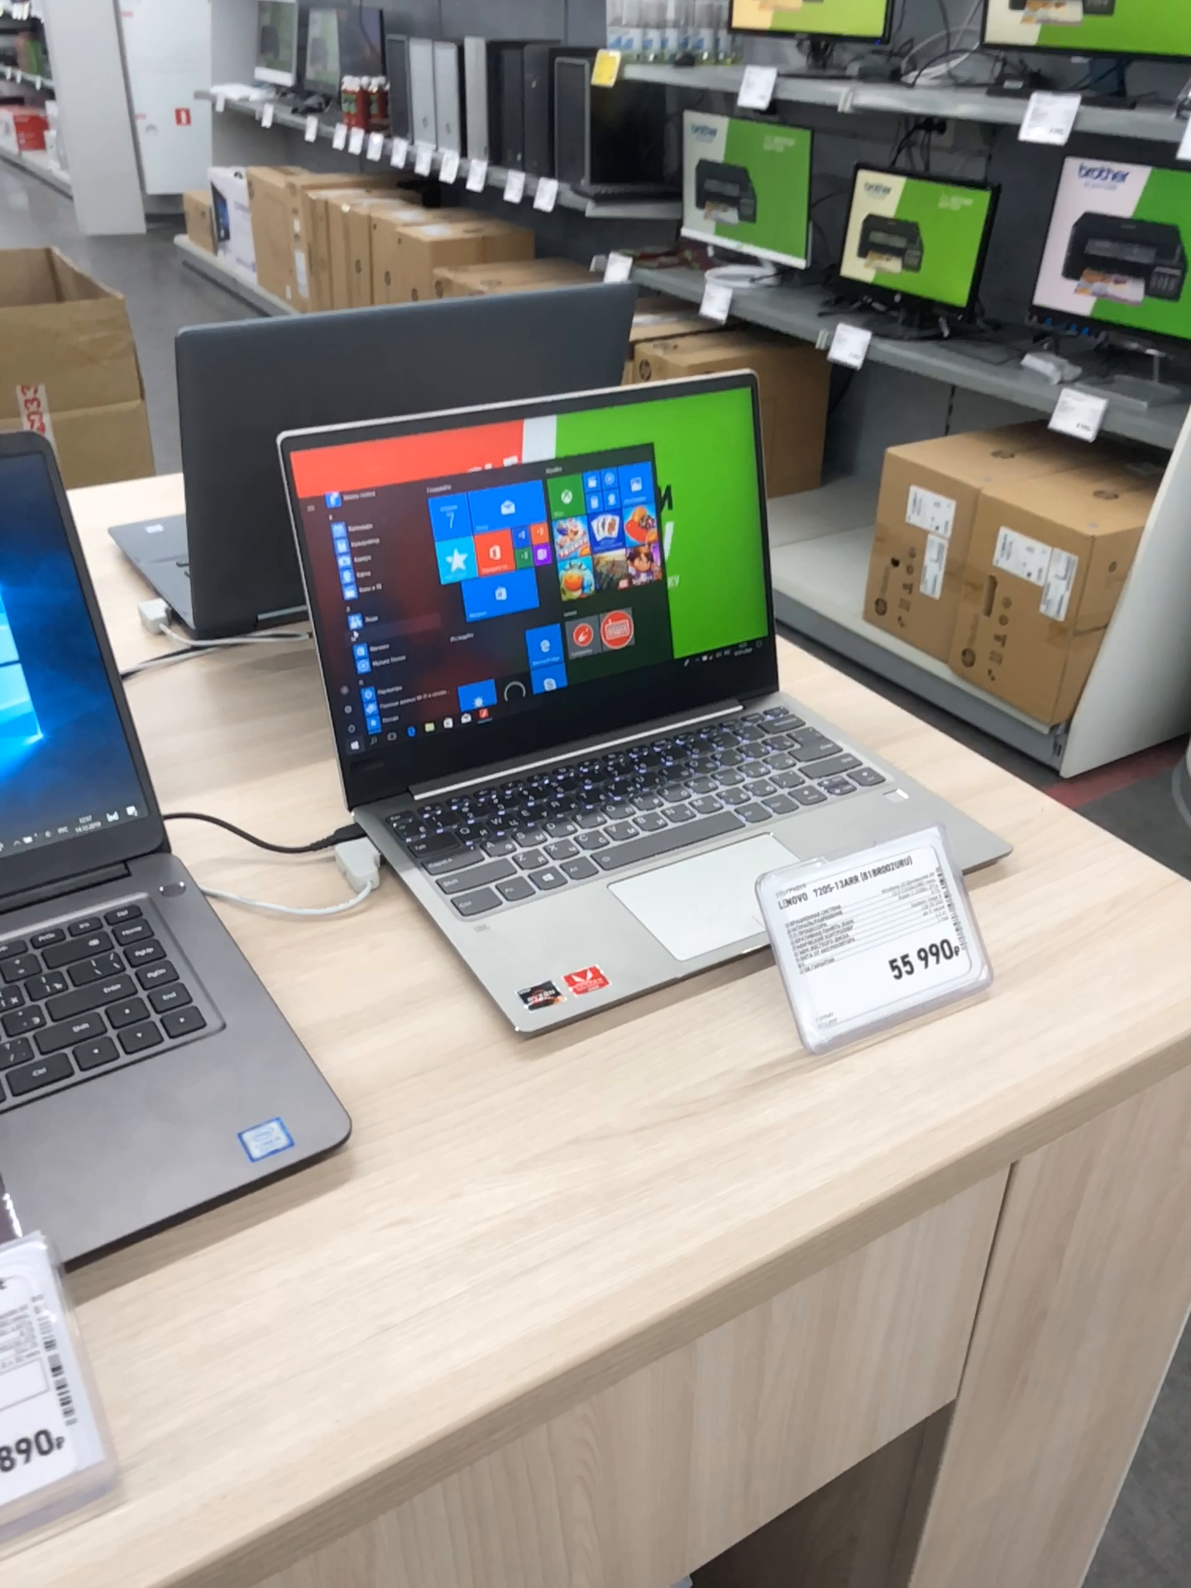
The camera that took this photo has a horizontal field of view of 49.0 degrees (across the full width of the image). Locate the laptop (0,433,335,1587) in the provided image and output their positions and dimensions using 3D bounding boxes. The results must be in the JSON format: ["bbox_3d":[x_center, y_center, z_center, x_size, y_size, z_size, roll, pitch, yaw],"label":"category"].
[{"bbox_3d":[-0.337,0.025,0.503,0.345,0.188,0.341,-18,37,-28],"label":"laptop"}]

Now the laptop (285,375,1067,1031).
[{"bbox_3d":[0.028,-0.075,0.684,0.285,0.187,0.262,-17,36,-26],"label":"laptop"}]
